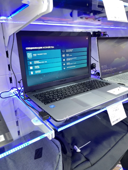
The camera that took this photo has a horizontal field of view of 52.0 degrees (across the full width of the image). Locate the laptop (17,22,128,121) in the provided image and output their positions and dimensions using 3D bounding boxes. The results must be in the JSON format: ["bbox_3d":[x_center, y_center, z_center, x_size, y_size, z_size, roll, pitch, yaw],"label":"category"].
[{"bbox_3d":[0.060,-0.087,0.504,0.372,0.232,0.263,-14,21,-33],"label":"laptop"}]
